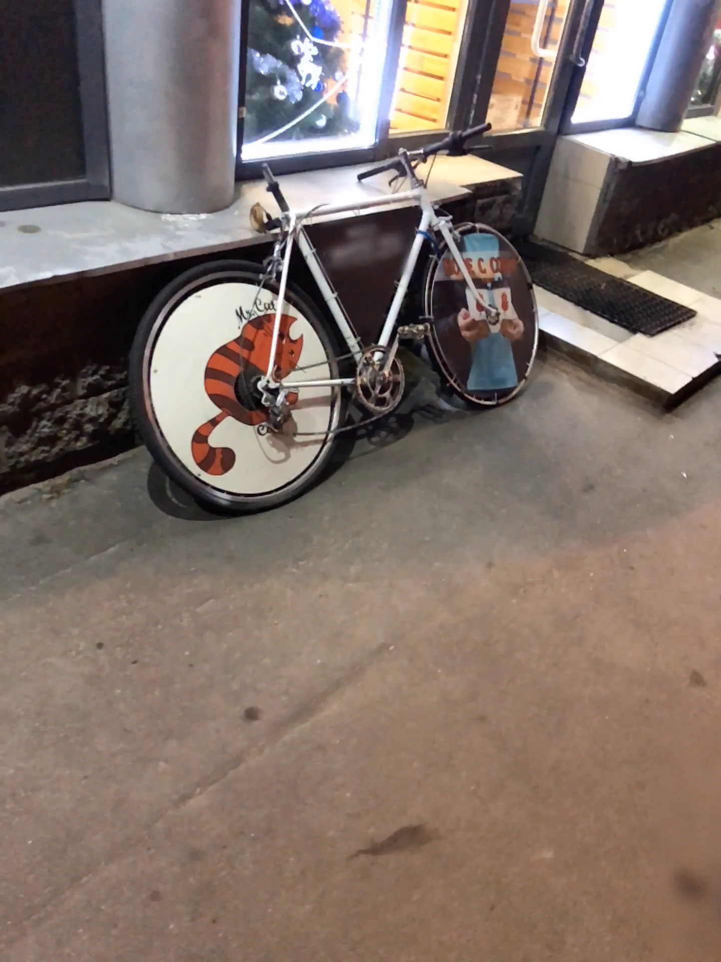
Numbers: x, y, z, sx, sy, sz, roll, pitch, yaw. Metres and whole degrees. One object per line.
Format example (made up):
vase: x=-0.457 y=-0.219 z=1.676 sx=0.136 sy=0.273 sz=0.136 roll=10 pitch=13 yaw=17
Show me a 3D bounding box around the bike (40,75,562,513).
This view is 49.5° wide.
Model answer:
bike: x=-0.116 y=-0.716 z=2.510 sx=0.570 sy=0.917 sz=1.590 roll=33 pitch=42 yaw=31
